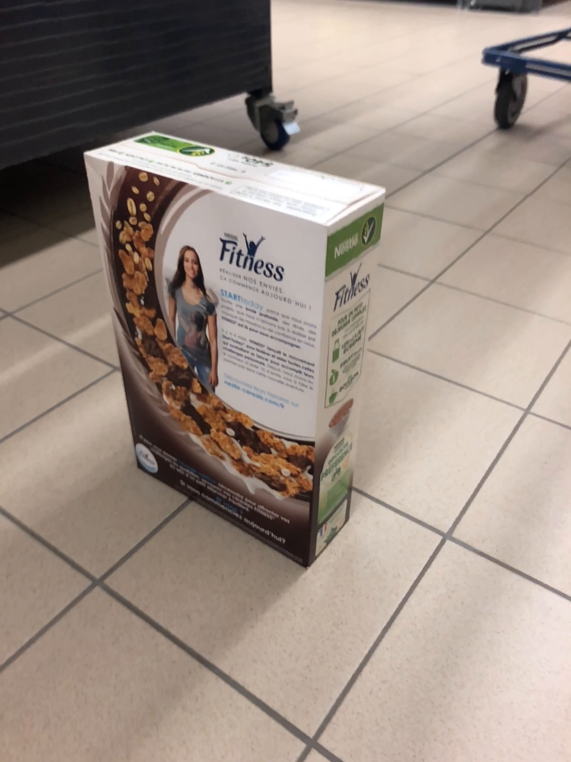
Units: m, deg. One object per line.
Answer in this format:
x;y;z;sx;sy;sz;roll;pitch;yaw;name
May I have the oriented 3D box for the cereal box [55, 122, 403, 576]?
-0.044;-0.020;0.472;0.210;0.278;0.081;24;42;27;cereal box
